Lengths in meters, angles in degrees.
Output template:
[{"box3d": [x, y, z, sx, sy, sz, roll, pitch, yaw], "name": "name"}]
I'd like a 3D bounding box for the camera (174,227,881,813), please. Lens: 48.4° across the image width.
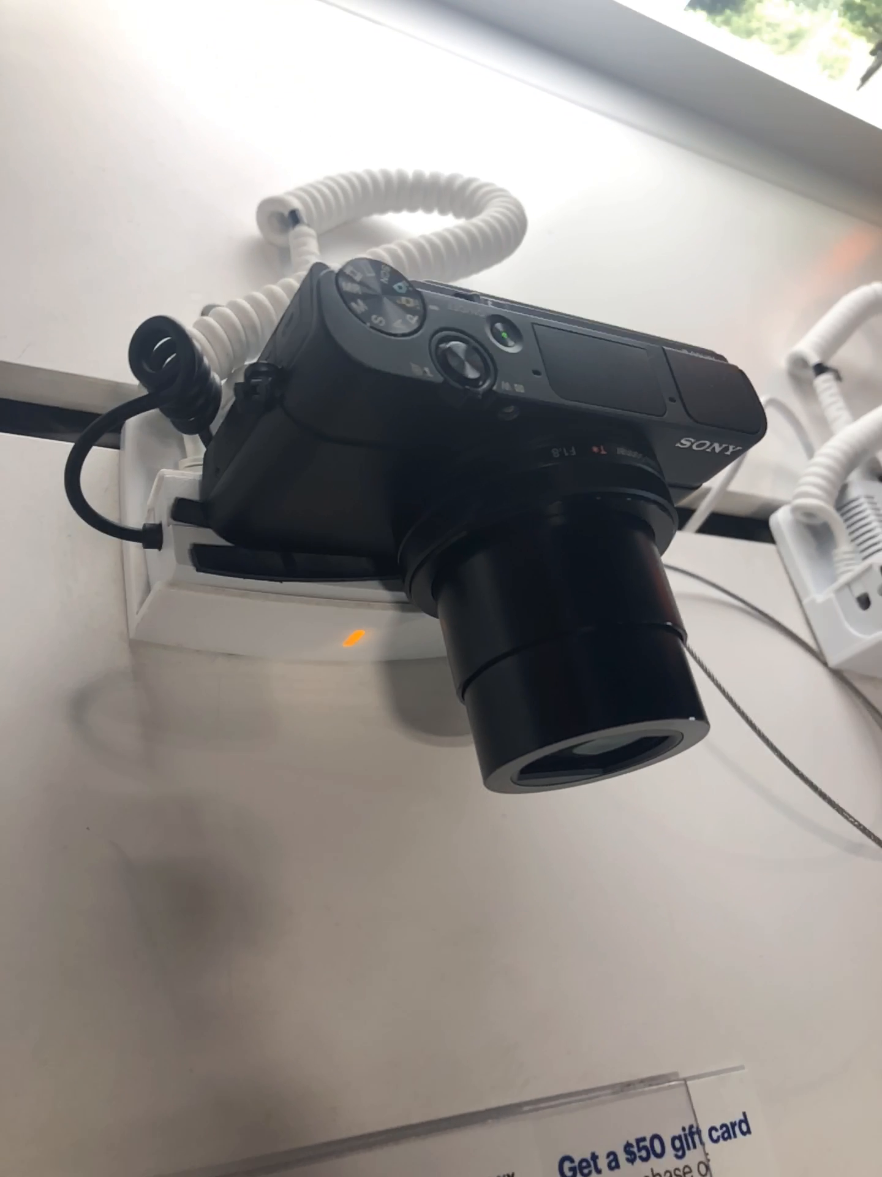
[{"box3d": [0.012, -0.004, 0.192, 0.105, 0.074, 0.070, 5, 57, -30], "name": "camera"}]
